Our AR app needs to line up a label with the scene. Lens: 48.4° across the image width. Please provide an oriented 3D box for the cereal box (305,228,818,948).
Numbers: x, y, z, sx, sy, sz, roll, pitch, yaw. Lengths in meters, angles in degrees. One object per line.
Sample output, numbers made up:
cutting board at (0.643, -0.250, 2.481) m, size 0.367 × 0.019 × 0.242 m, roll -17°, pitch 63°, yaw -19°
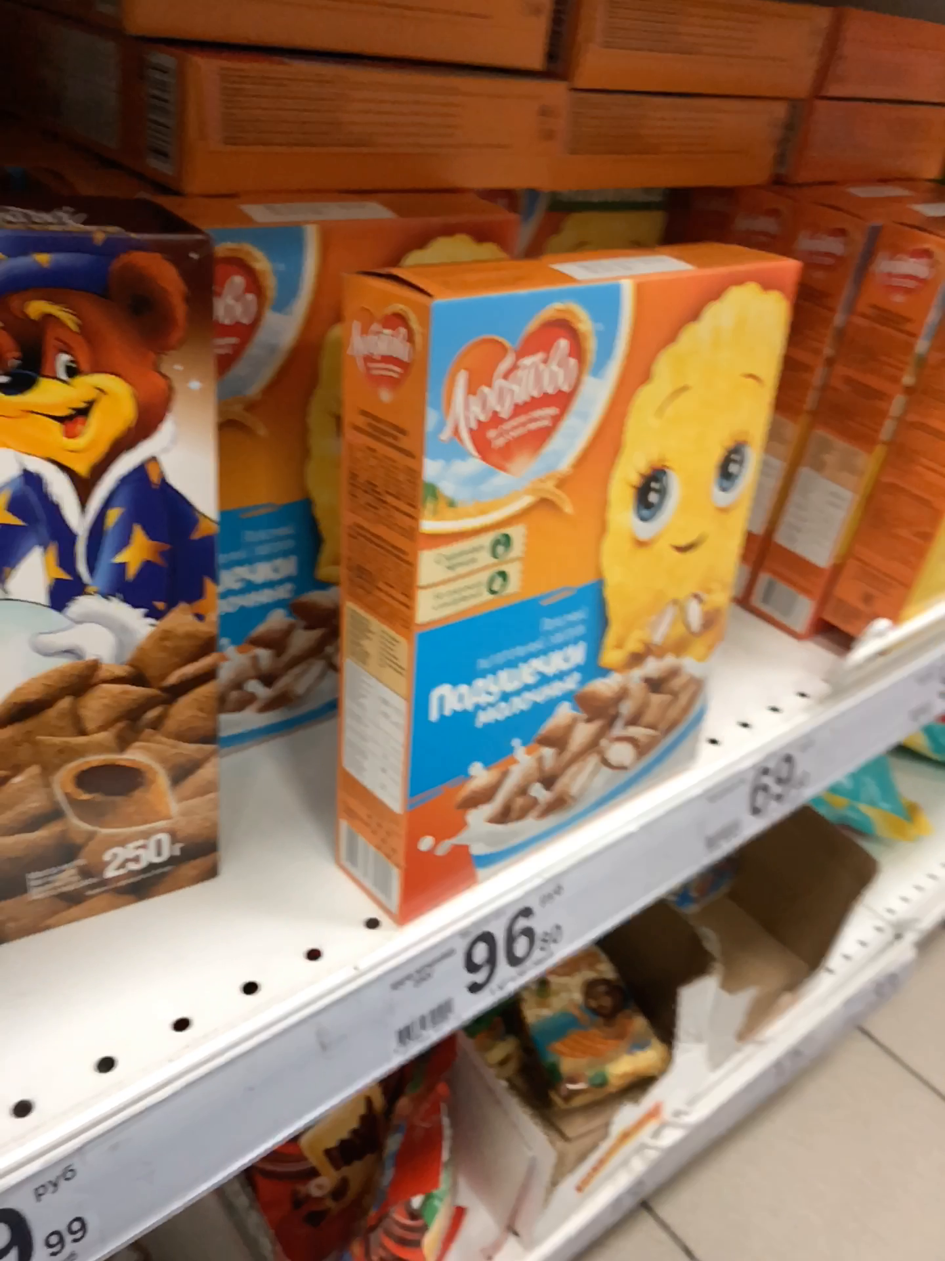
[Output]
cereal box at (0.029, -0.021, 0.391) m, size 0.181 × 0.229 × 0.050 m, roll -20°, pitch 38°, yaw -38°
